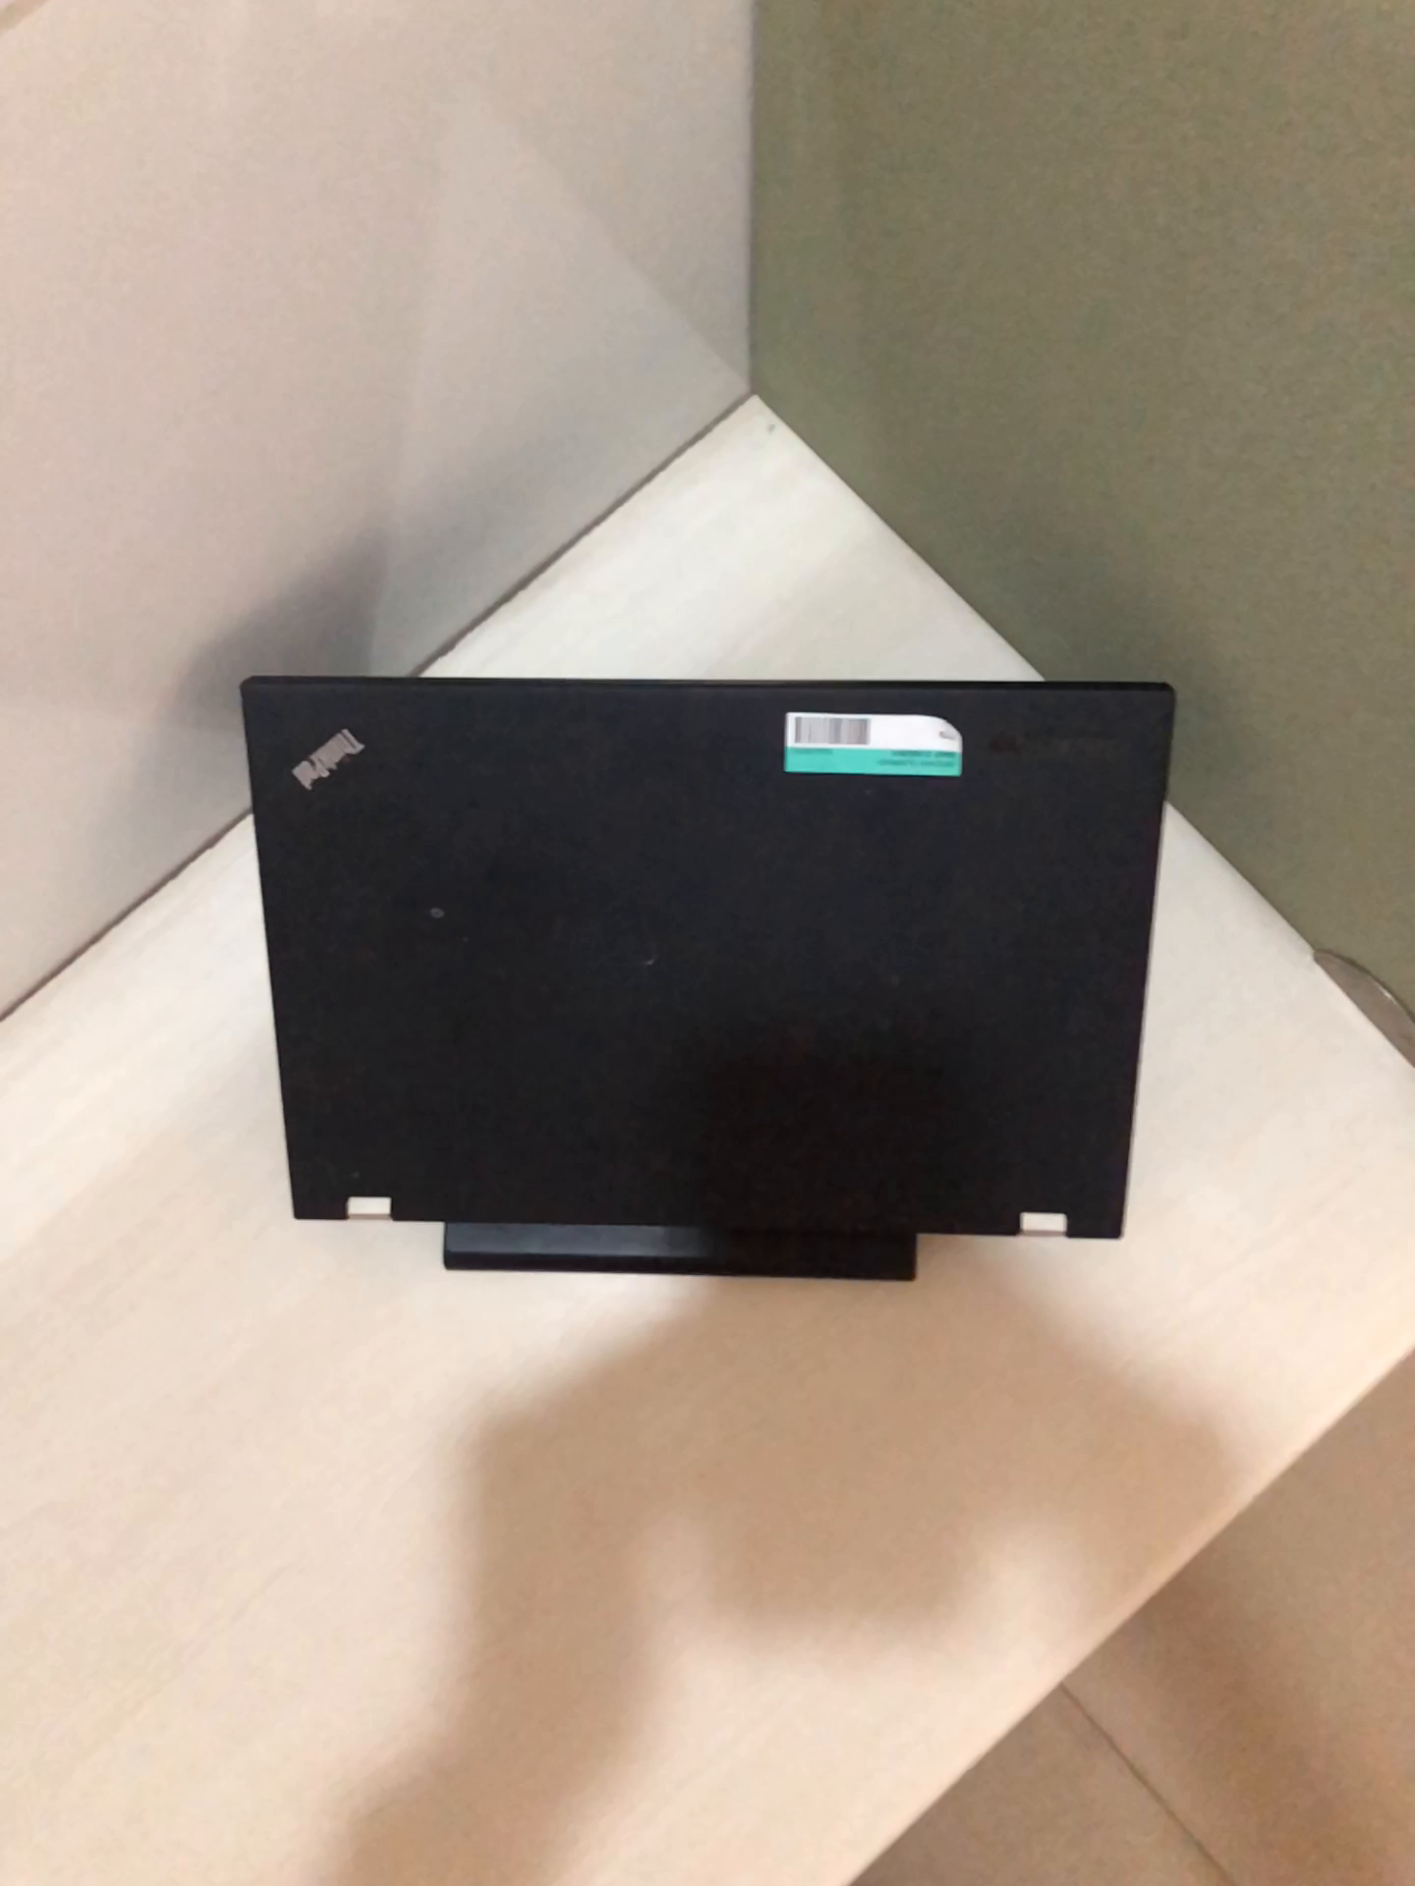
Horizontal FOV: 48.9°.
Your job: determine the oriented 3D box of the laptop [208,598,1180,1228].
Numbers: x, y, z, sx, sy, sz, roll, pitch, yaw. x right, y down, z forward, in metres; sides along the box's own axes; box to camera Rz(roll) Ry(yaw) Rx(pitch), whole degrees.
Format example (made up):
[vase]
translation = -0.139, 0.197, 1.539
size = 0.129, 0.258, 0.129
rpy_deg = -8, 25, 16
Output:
[laptop]
translation = -0.002, -0.004, 0.651
size = 0.354, 0.140, 0.232
rpy_deg = 1, 81, 4
